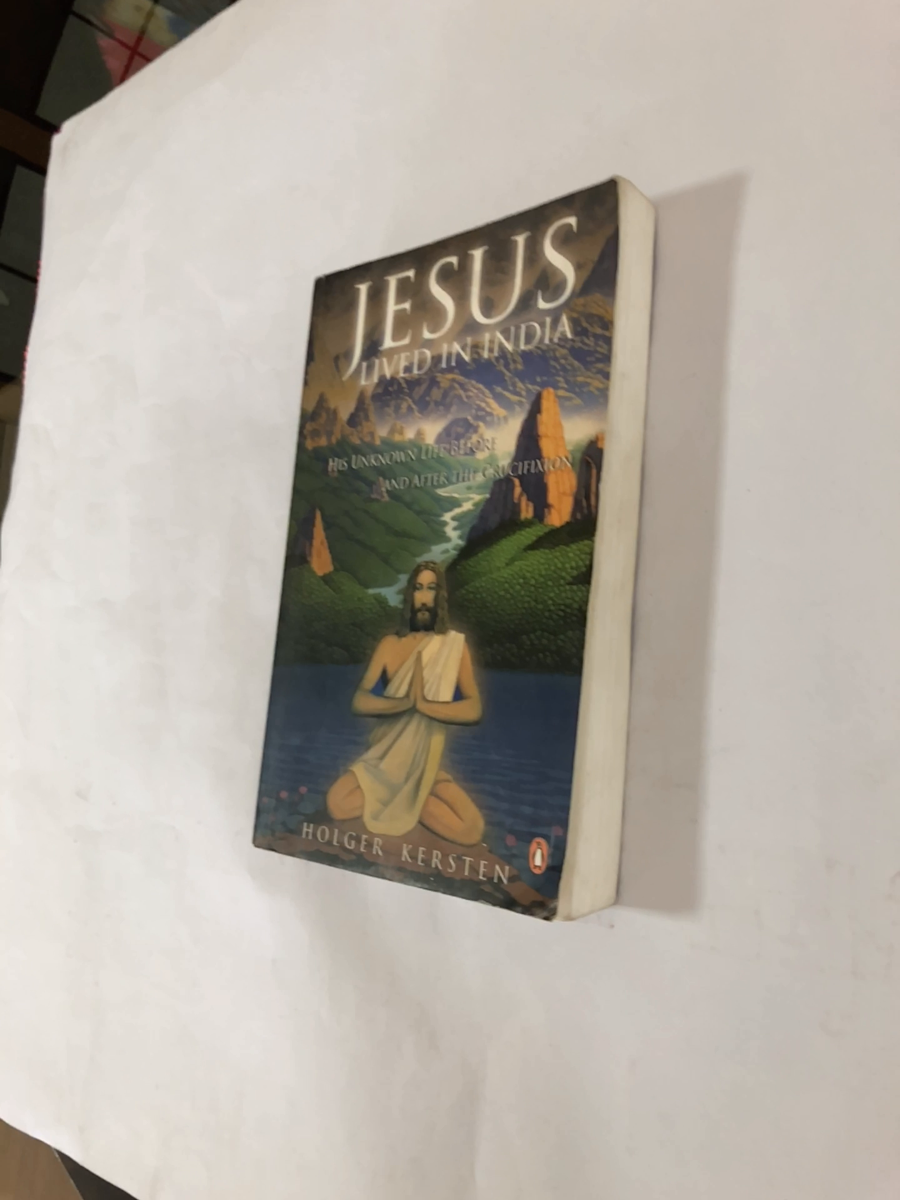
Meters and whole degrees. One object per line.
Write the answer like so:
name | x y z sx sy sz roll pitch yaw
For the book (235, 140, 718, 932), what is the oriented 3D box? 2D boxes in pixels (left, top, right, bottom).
book | 0.002 -0.018 0.321 0.151 0.030 0.210 -1 80 41
